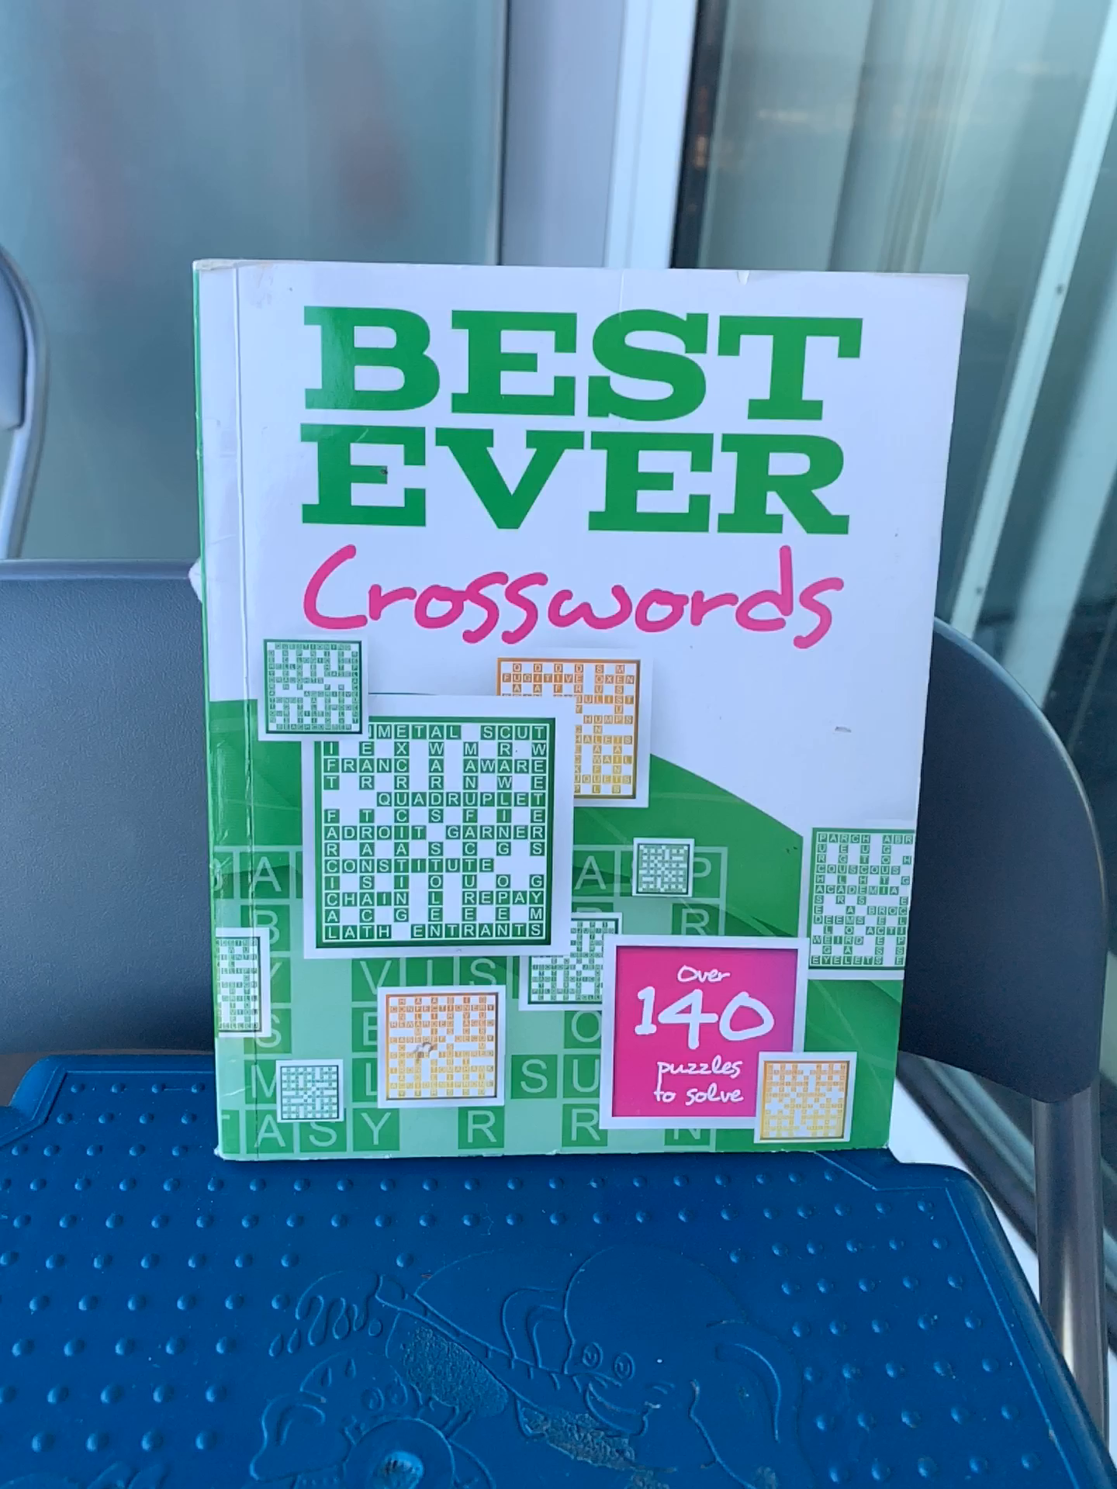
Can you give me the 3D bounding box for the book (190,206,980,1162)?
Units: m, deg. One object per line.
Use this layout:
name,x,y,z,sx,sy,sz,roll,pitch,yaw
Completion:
book,0.003,-0.008,0.258,0.157,0.196,0.030,1,10,-6
